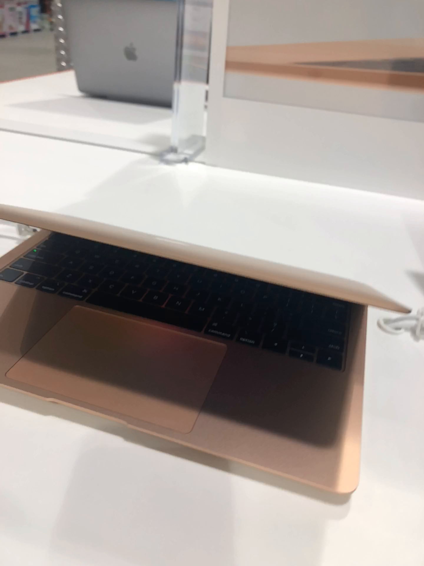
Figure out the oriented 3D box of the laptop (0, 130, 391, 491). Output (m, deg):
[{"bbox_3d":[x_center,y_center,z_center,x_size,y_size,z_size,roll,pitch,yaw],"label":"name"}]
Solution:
[{"bbox_3d":[-0.034,-0.017,0.335,0.285,0.091,0.209,13,32,12],"label":"laptop"}]
